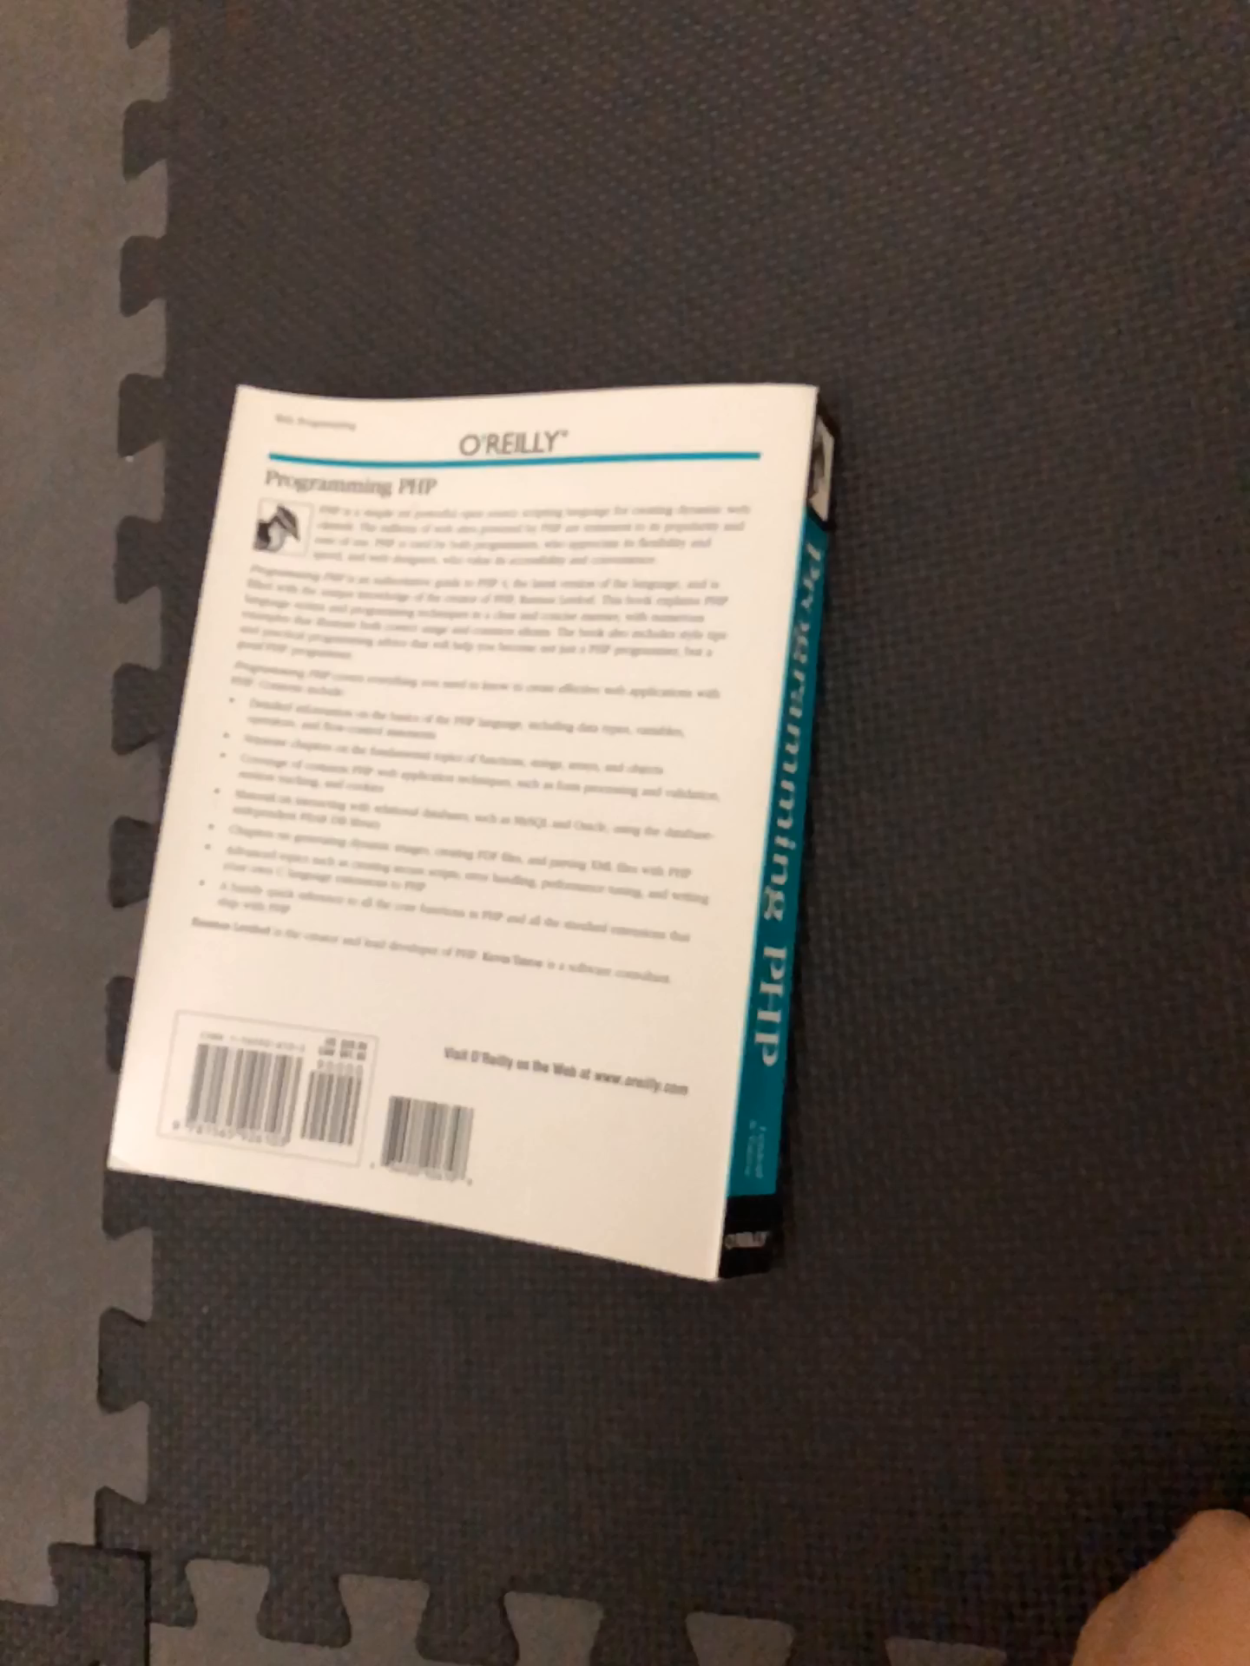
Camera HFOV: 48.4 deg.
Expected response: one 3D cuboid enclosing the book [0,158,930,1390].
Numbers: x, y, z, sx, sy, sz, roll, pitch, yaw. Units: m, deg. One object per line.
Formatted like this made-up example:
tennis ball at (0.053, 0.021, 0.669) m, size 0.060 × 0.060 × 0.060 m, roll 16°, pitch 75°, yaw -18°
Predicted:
book at (-0.049, -0.026, 0.384) m, size 0.230 × 0.040 × 0.290 m, roll 4°, pitch 84°, yaw 22°
